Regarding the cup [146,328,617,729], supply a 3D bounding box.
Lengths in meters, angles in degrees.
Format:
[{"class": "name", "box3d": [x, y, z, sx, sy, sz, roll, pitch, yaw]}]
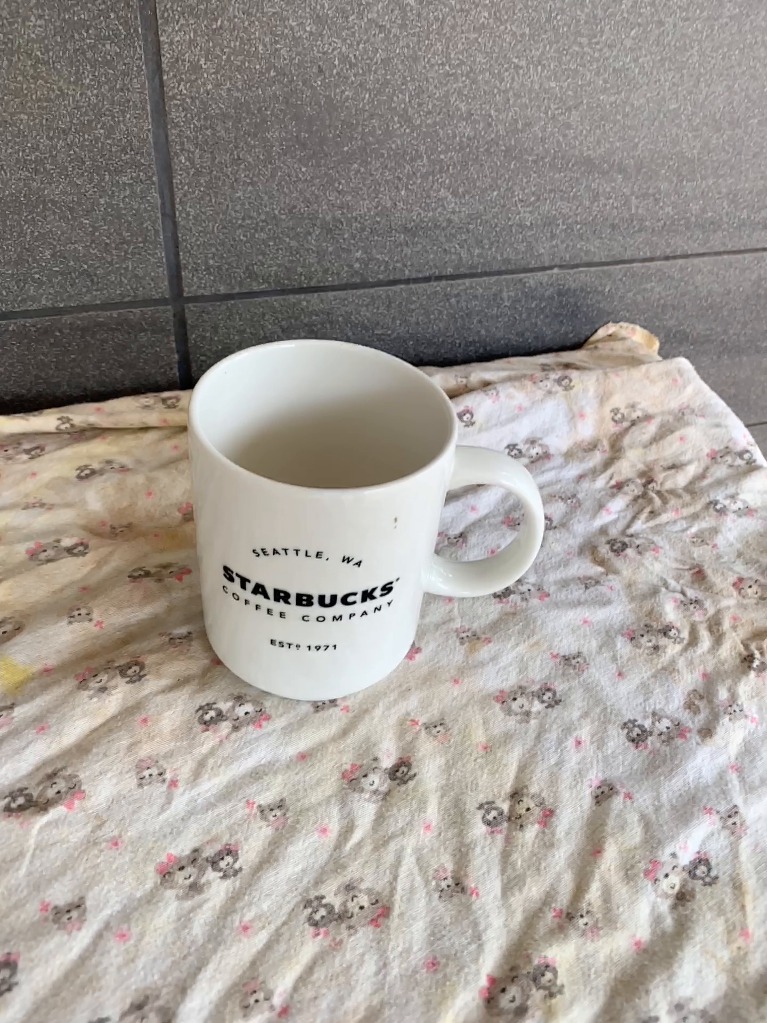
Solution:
[{"class": "cup", "box3d": [-0.006, 0.007, 0.287, 0.130, 0.110, 0.090, 0, 42, -6]}]
